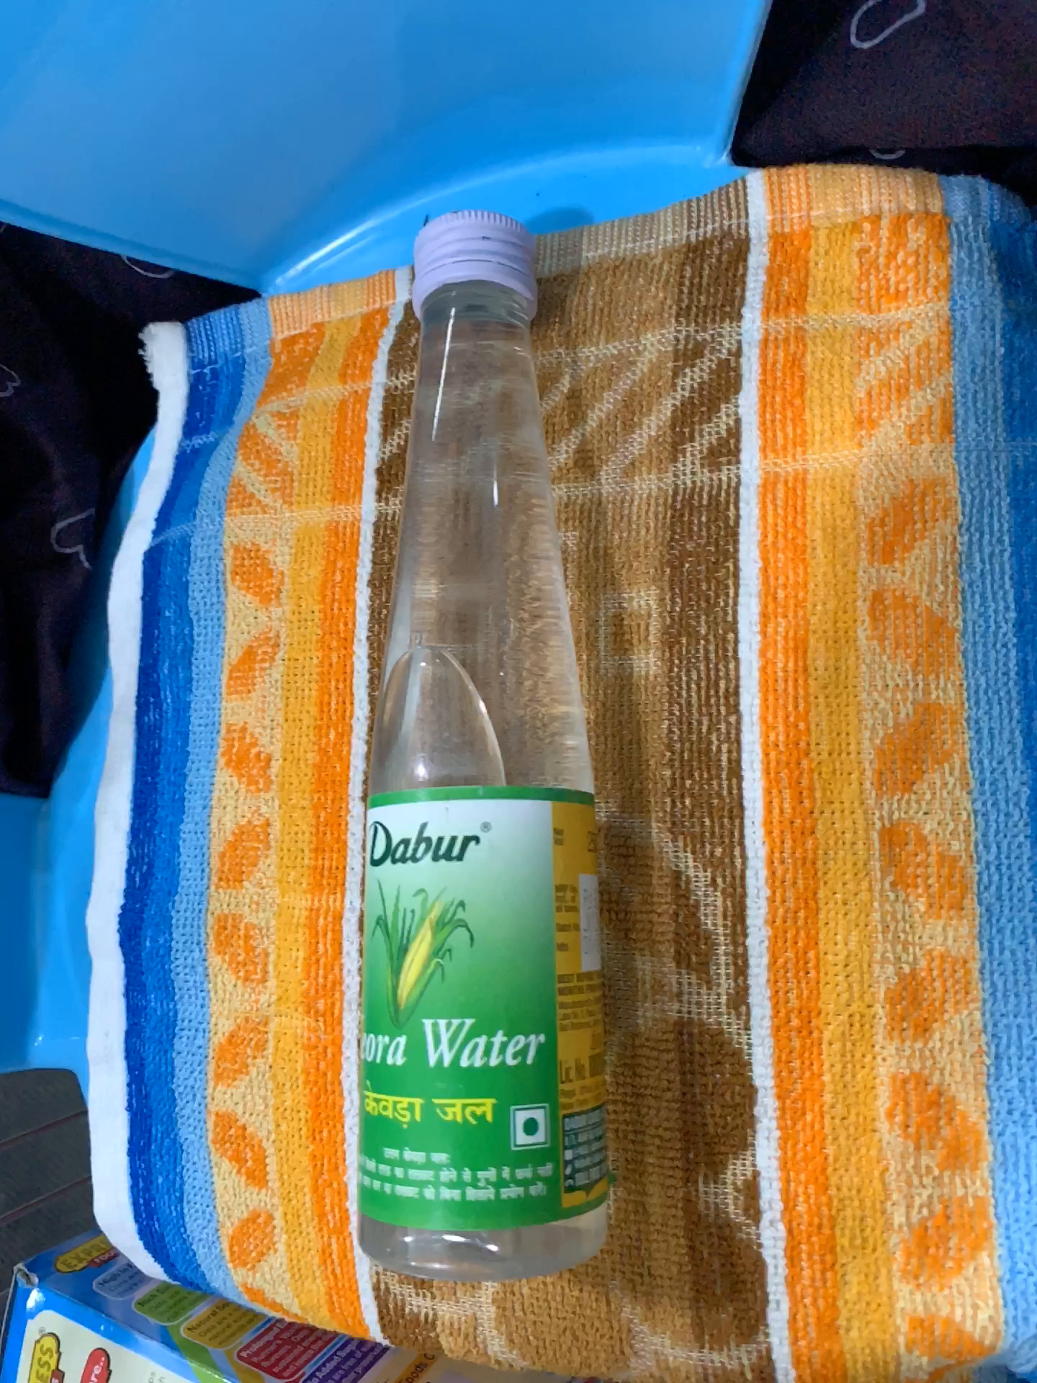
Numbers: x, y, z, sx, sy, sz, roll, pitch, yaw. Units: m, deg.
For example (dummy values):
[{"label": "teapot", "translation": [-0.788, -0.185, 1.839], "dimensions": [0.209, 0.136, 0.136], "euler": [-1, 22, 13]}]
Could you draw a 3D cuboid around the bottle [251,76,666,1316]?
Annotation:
[{"label": "bottle", "translation": [-0.012, -0.002, 0.204], "dimensions": [0.050, 0.050, 0.200], "euler": [-7, 82, 25]}]
